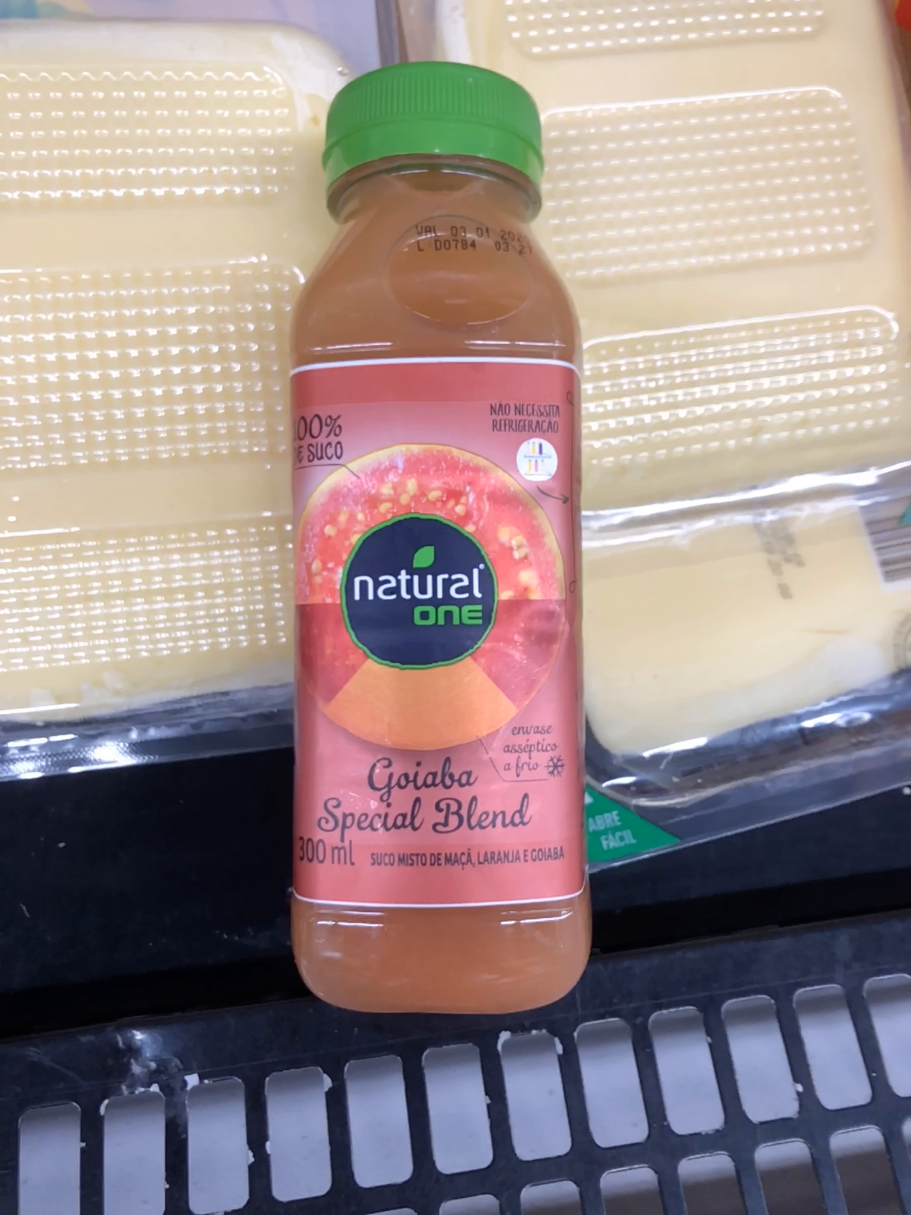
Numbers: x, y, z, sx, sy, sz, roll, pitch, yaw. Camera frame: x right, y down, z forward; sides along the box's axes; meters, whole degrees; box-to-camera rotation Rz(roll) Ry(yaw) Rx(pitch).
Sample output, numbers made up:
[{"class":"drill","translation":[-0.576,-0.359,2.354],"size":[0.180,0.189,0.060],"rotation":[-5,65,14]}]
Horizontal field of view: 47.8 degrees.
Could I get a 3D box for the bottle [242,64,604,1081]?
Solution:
[{"class":"bottle","translation":[-0.010,-0.008,0.217],"size":[0.060,0.070,0.180],"rotation":[-1,82,-5]}]
